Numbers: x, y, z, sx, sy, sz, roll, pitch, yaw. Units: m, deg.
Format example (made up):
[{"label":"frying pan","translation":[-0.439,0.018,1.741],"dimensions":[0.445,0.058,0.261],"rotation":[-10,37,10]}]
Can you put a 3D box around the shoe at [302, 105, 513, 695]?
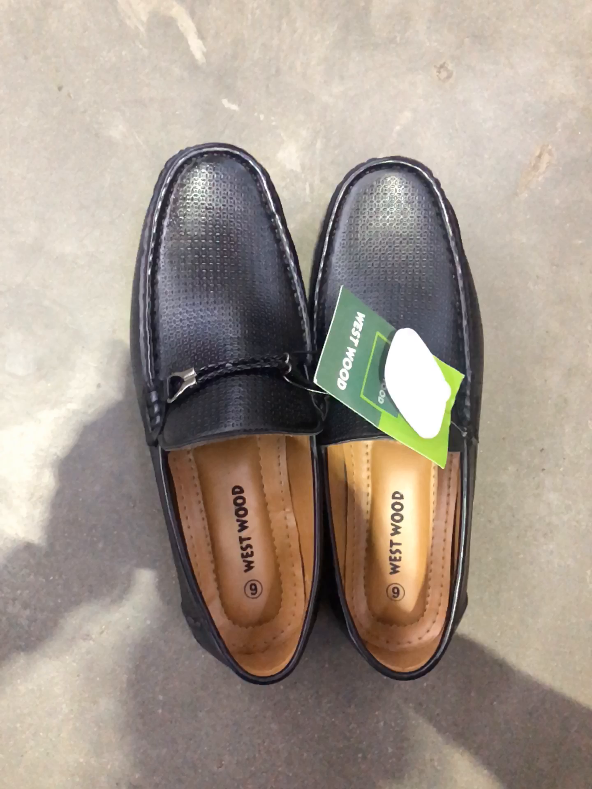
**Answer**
[{"label":"shoe","translation":[0.054,0.003,0.349],"dimensions":[0.090,0.070,0.280],"rotation":[-2,89,2]}]

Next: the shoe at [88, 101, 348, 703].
[{"label":"shoe","translation":[-0.041,0.000,0.347],"dimensions":[0.100,0.070,0.280],"rotation":[-5,90,-9]}]
